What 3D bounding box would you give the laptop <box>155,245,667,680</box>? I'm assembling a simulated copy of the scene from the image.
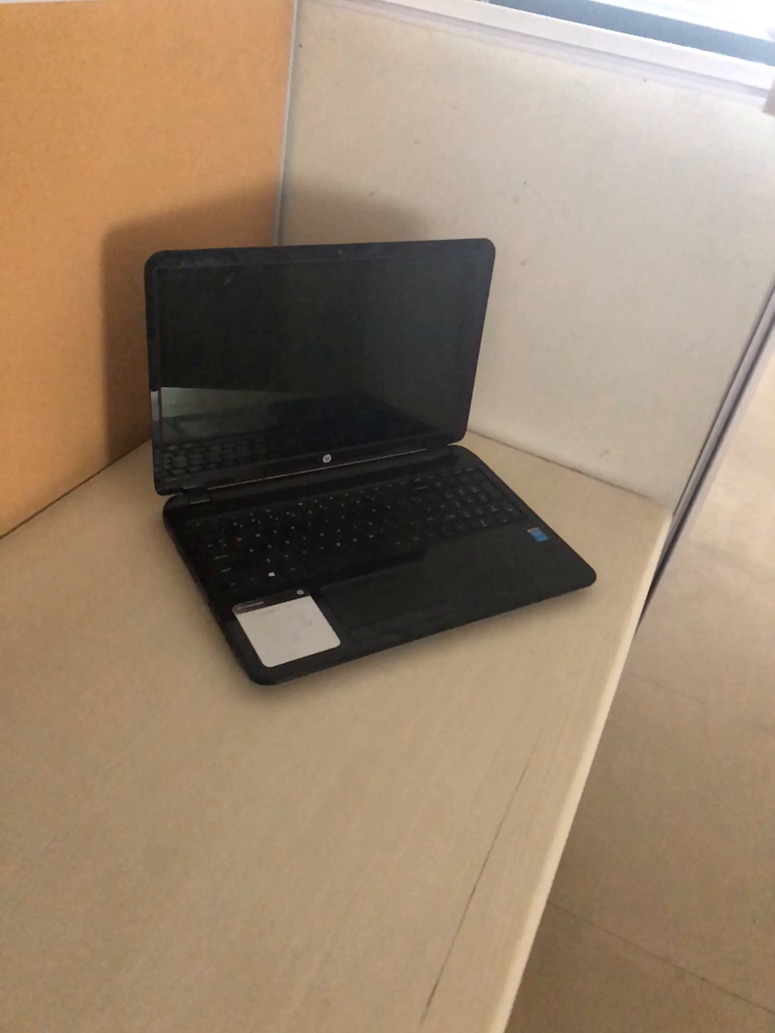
[{"bbox_3d":[0.004,-0.076,0.770,0.351,0.225,0.266,-12,43,-29],"label":"laptop"}]
